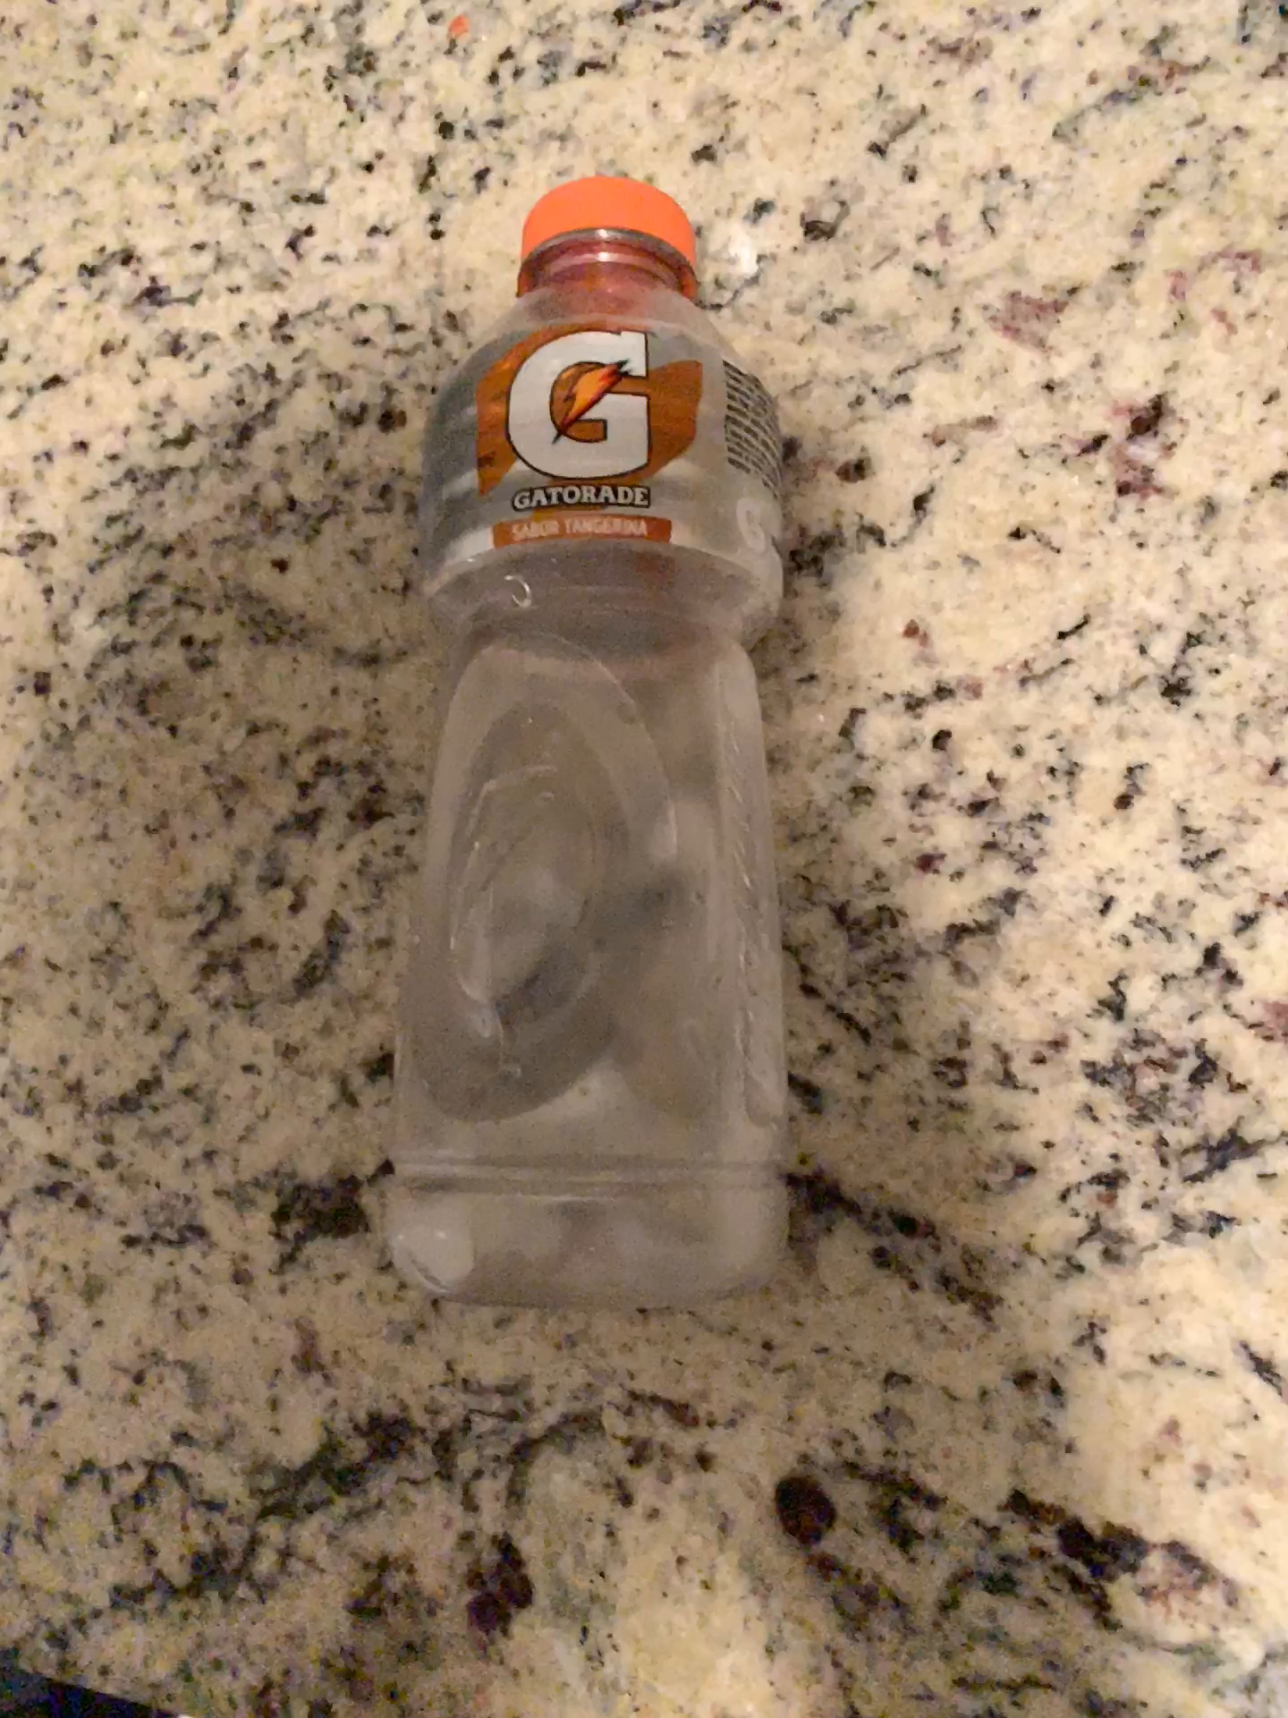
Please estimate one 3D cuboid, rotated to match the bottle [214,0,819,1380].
[{"bbox_3d":[-0.016,-0.034,0.232,0.070,0.070,0.220,-5,77,23],"label":"bottle"}]
